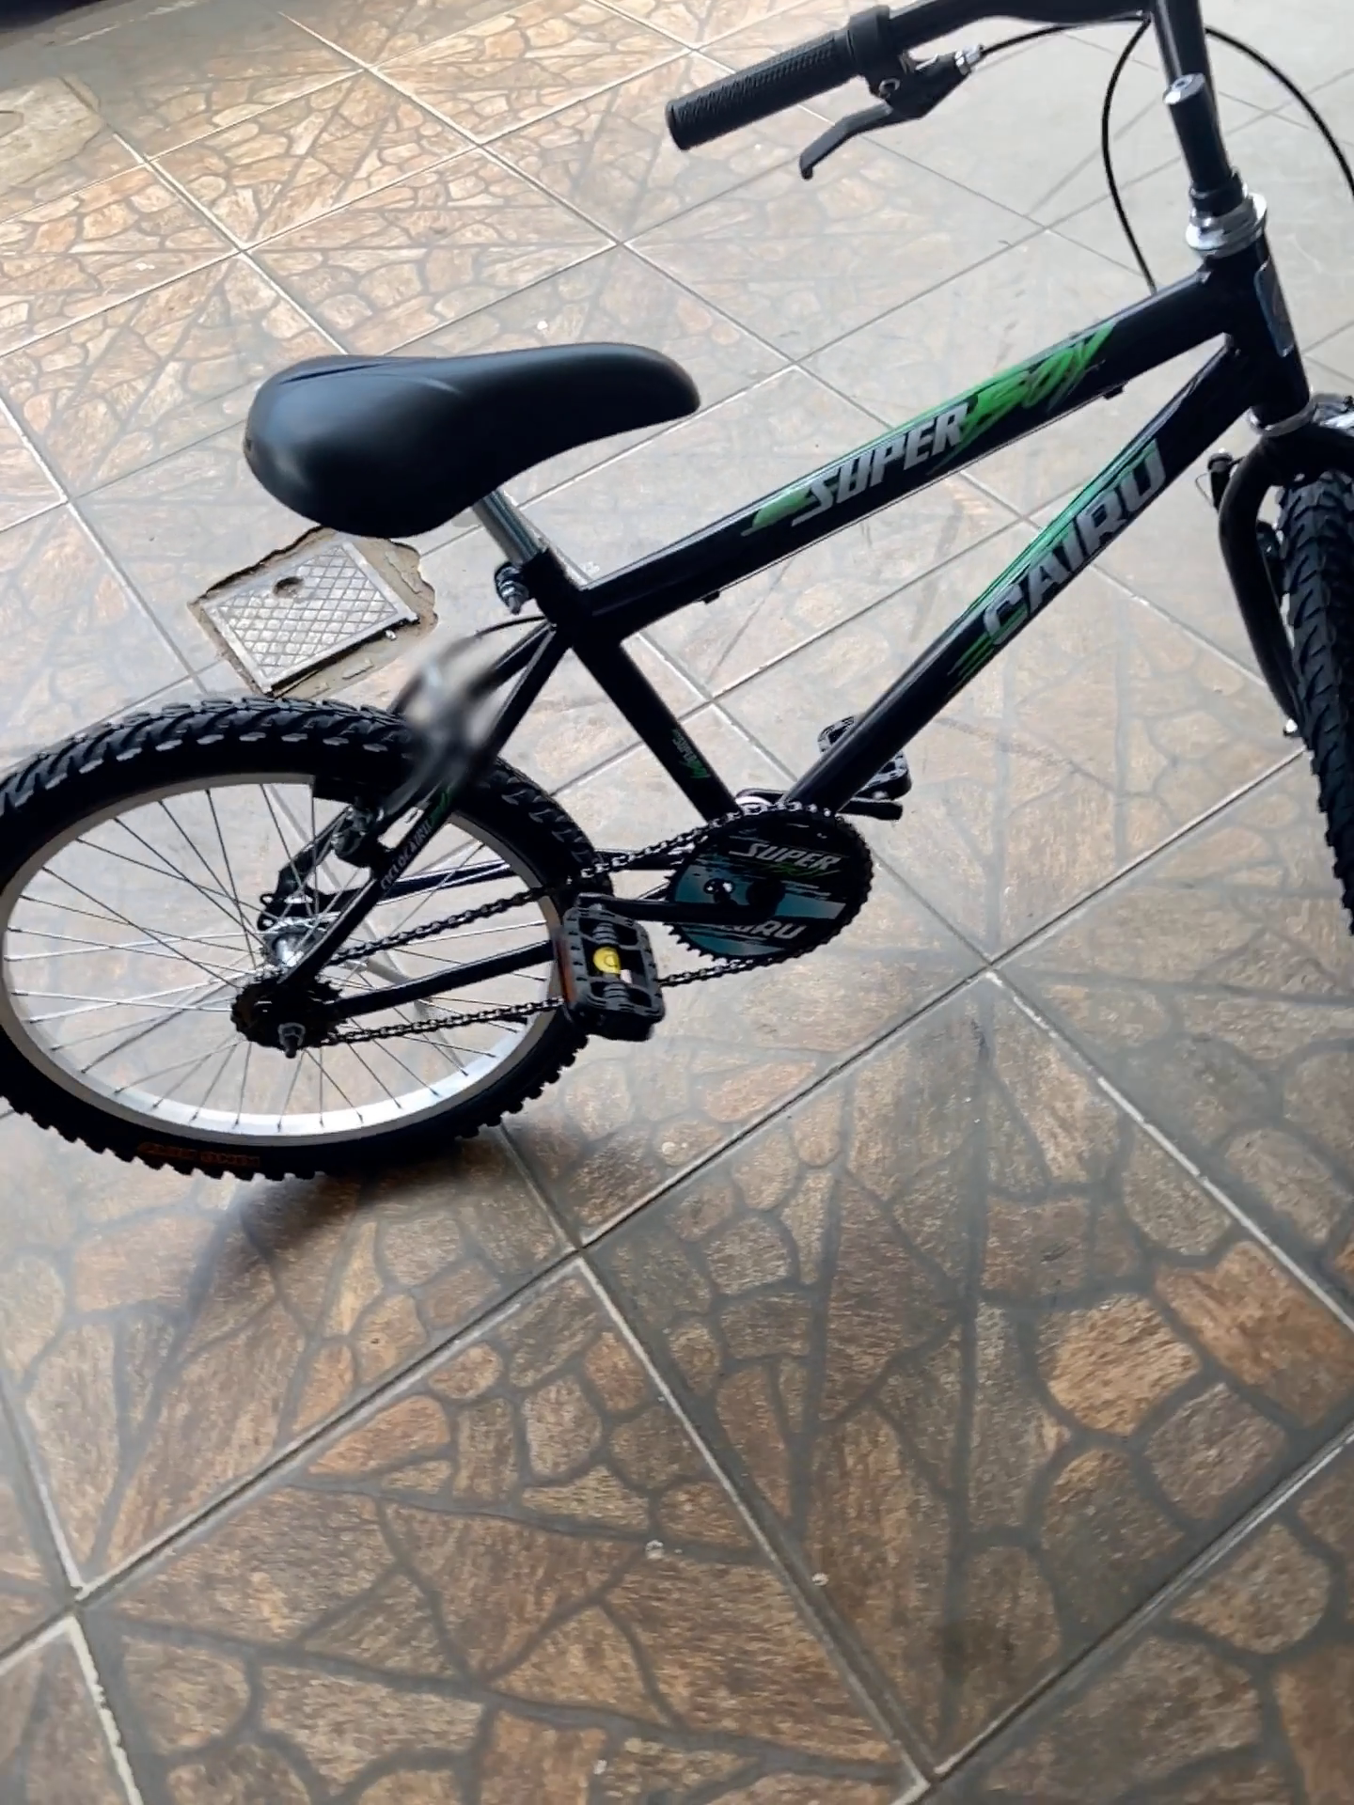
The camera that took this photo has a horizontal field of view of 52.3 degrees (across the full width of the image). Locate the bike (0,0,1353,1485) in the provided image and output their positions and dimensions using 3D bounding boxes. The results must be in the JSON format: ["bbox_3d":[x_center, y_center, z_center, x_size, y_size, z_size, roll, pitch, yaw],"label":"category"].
[{"bbox_3d":[0.007,-0.235,1.003,1.270,0.935,0.601,-19,56,-8],"label":"bike"}]
